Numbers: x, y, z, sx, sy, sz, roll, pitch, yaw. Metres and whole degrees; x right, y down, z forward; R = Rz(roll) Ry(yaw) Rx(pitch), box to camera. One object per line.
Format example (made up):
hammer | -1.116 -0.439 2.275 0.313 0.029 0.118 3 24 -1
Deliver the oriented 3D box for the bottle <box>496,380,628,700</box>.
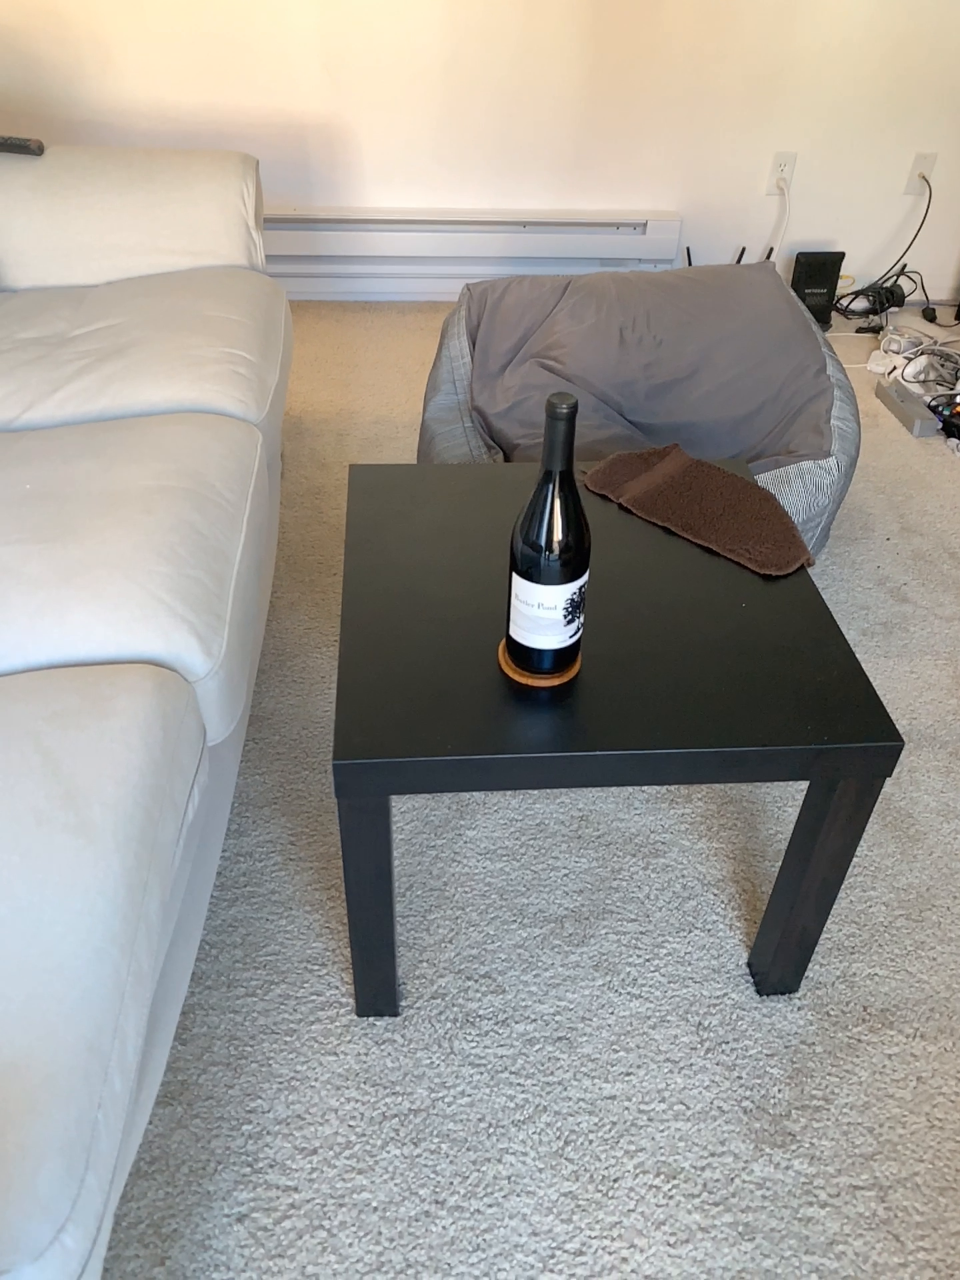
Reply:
bottle | 0.064 -0.081 0.864 0.080 0.268 0.101 1 39 -3
